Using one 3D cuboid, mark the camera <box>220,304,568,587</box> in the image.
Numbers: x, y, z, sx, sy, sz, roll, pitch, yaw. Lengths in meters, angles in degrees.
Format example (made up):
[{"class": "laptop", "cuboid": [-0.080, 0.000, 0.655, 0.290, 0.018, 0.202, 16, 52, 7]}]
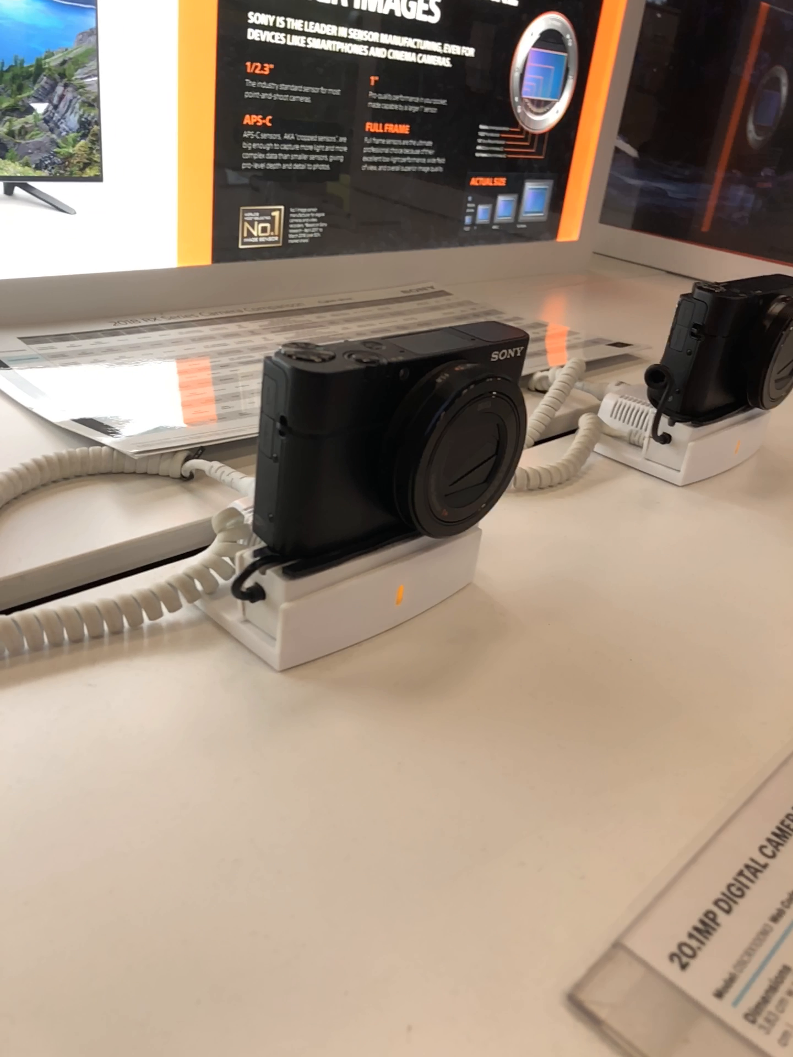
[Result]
[{"class": "camera", "cuboid": [0.002, -0.032, 0.281, 0.040, 0.060, 0.110, 28, 33, 35]}]
